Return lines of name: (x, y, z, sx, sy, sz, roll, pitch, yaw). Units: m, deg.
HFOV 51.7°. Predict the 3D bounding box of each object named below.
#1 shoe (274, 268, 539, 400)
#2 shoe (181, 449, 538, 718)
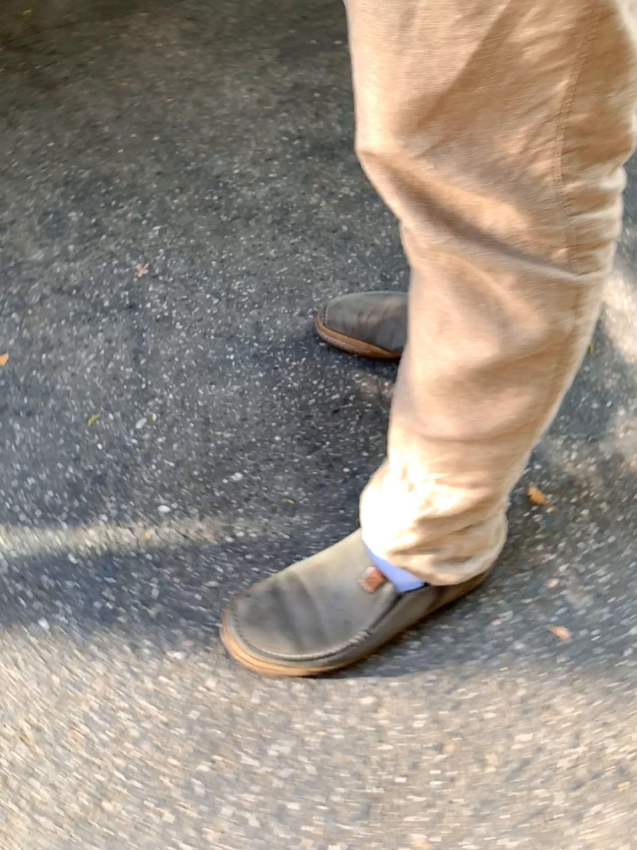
shoe: (0.115, -0.125, 0.864, 0.320, 0.060, 0.120, 11, 52, 12)
shoe: (0.042, 0.149, 0.657, 0.320, 0.080, 0.121, -22, 53, -14)
